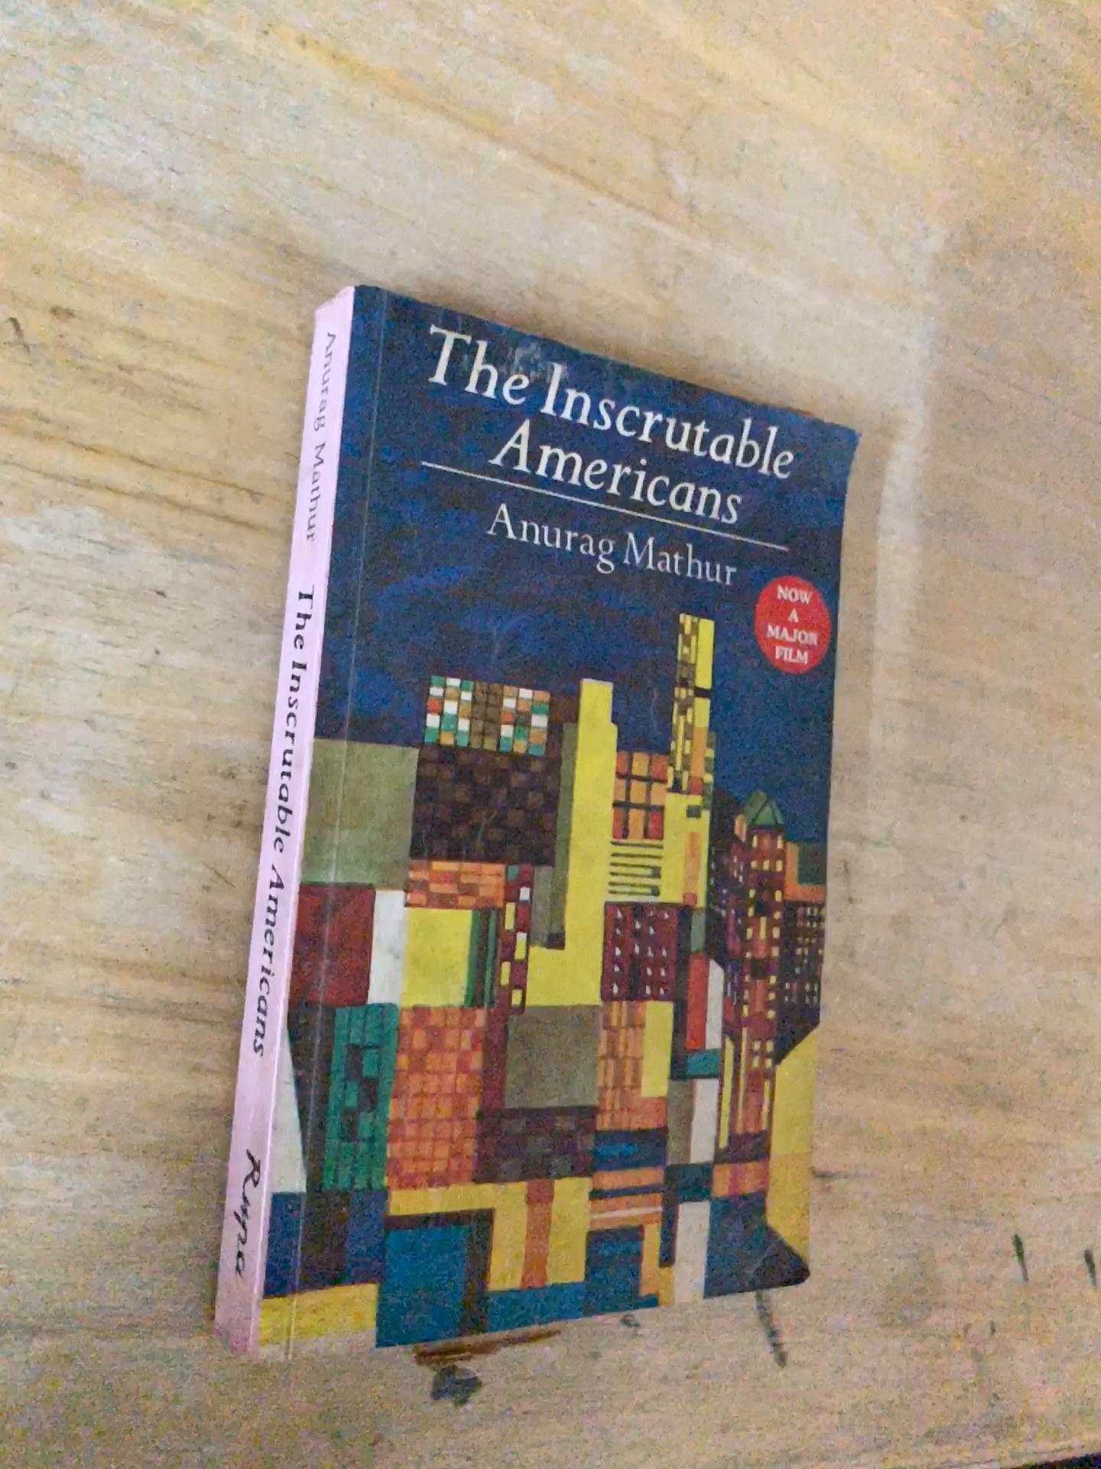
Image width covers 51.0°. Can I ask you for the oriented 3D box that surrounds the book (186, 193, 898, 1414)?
[{"bbox_3d":[0.006,0.012,0.212,0.120,0.030,0.180,7,83,-29],"label":"book"}]
